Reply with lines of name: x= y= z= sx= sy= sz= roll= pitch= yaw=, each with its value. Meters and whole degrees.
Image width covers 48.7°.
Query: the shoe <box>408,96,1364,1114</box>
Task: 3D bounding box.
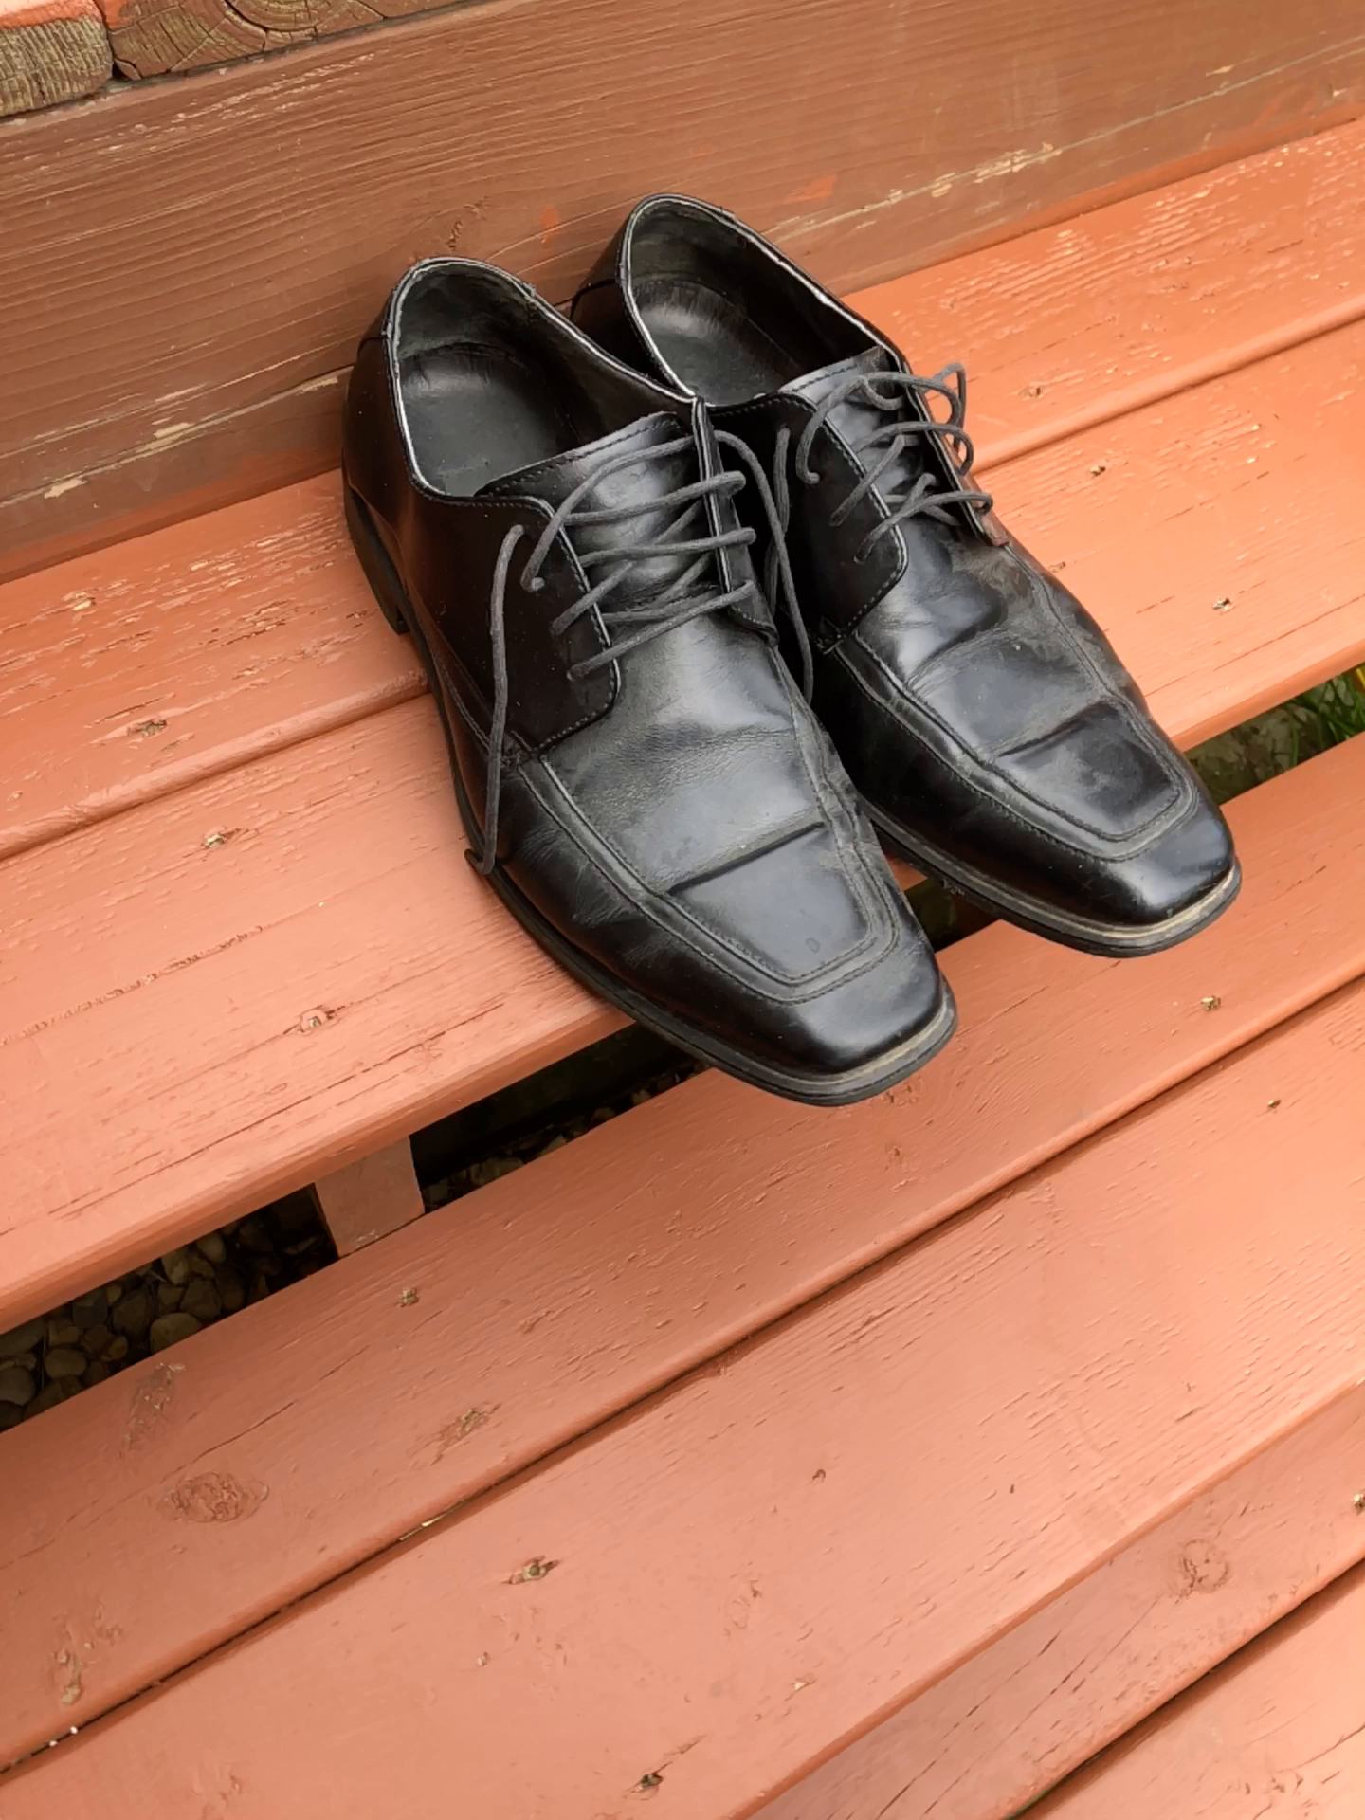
shoe: x=0.052 y=-0.115 z=0.506 sx=0.130 sy=0.110 sz=0.330 roll=-29 pitch=66 yaw=-20

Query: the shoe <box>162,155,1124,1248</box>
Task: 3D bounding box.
shoe: x=-0.030 y=-0.081 z=0.482 sx=0.130 sy=0.110 sz=0.330 roll=-26 pitch=65 yaw=-18
